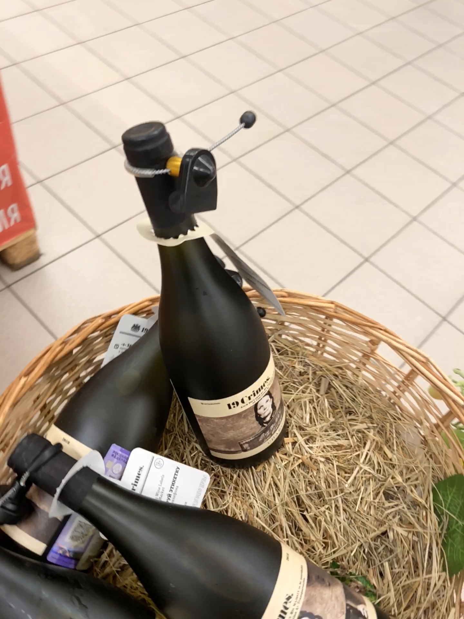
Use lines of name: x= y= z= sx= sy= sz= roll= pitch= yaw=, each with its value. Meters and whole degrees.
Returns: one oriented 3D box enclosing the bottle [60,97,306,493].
bottle: x=-0.013 y=0.009 z=0.382 sx=0.080 sy=0.289 sz=0.090 roll=23 pitch=52 yaw=33
